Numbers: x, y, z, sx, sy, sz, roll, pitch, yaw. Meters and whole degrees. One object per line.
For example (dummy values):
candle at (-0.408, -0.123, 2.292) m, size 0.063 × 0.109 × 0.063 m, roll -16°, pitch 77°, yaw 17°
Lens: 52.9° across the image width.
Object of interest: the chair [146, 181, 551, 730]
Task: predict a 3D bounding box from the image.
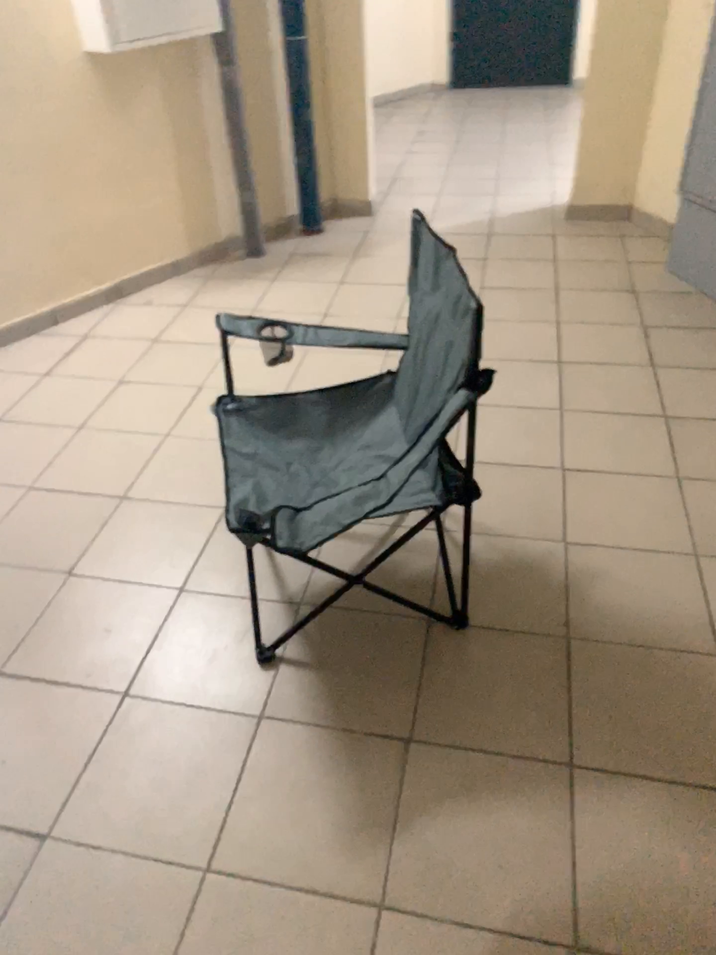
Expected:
chair at (-0.063, -0.093, 1.519) m, size 0.560 × 0.756 × 0.805 m, roll -10°, pitch 38°, yaw -7°
